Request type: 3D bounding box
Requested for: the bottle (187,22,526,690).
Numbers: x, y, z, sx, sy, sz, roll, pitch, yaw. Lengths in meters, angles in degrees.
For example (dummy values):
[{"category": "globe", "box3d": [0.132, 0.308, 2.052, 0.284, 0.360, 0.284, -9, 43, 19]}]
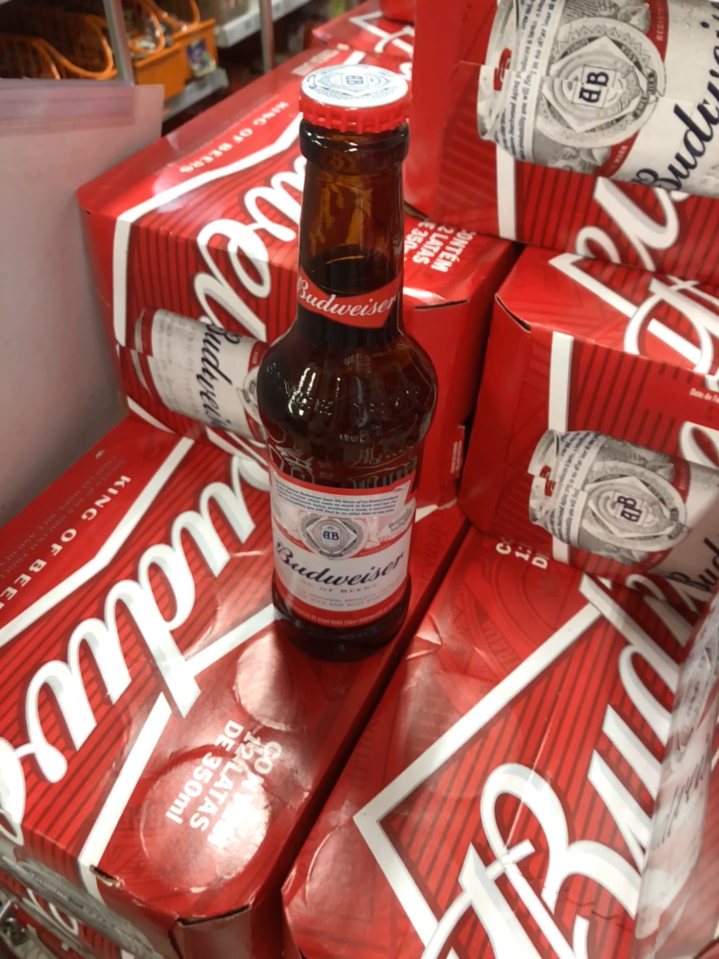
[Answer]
[{"category": "bottle", "box3d": [-0.001, -0.020, 0.278, 0.070, 0.228, 0.060, 12, 47, 9]}]
